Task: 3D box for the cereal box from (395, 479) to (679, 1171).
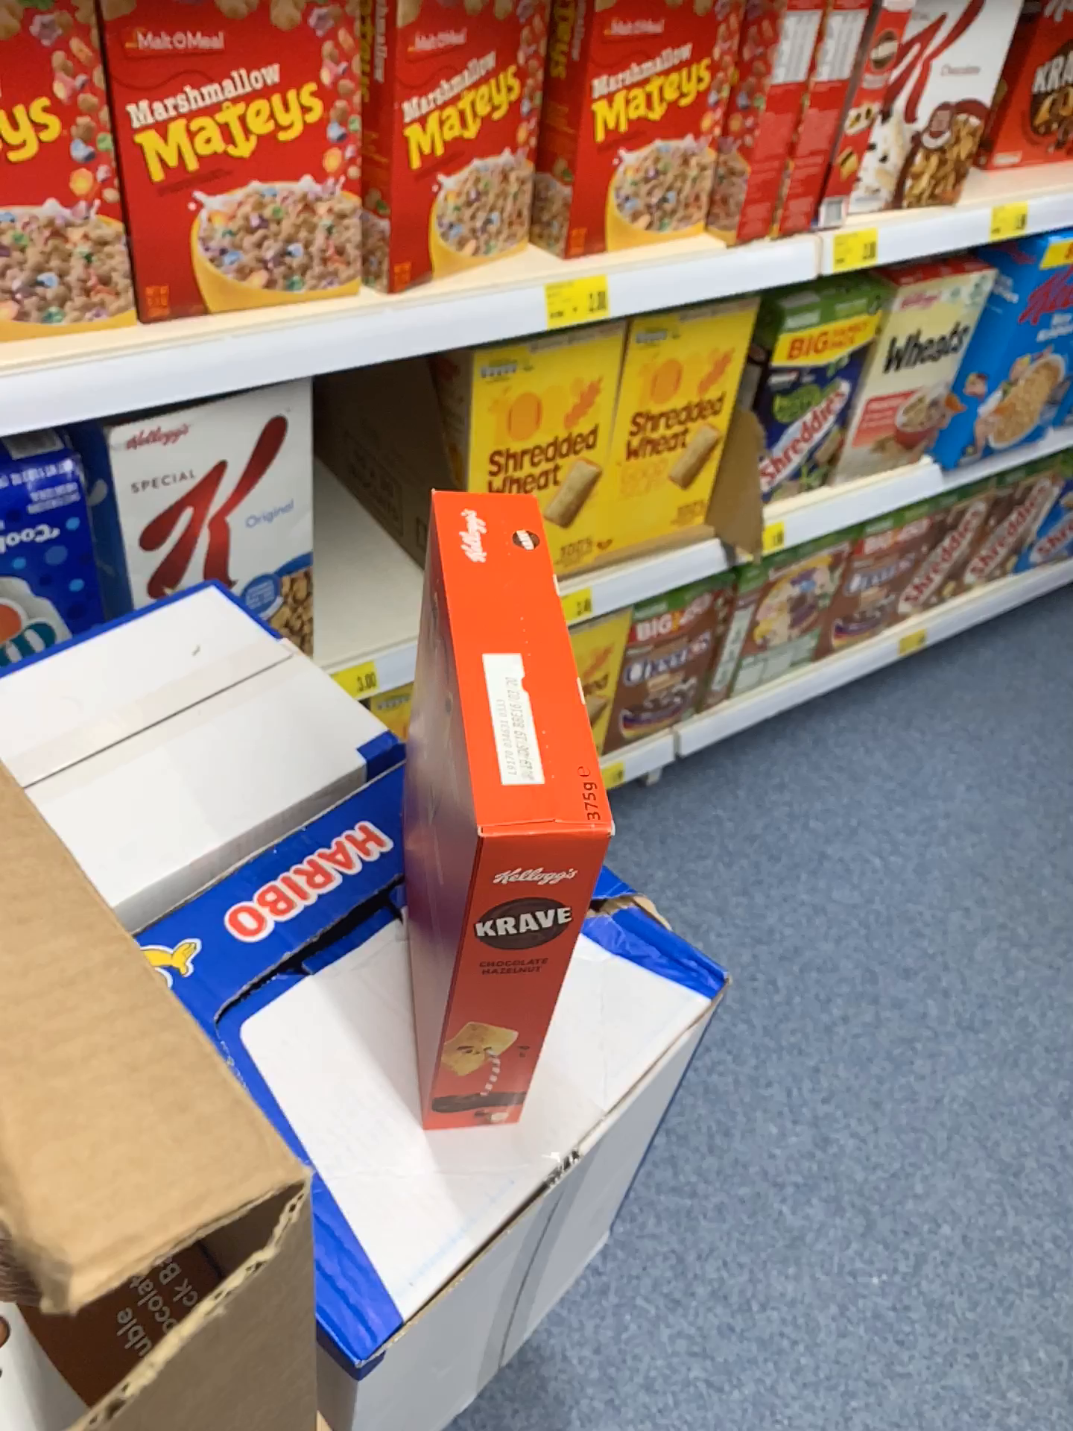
[{"bbox_3d":[-0.018,0.053,0.497,0.060,0.238,0.202,0,46,-13],"label":"cereal box"}]
